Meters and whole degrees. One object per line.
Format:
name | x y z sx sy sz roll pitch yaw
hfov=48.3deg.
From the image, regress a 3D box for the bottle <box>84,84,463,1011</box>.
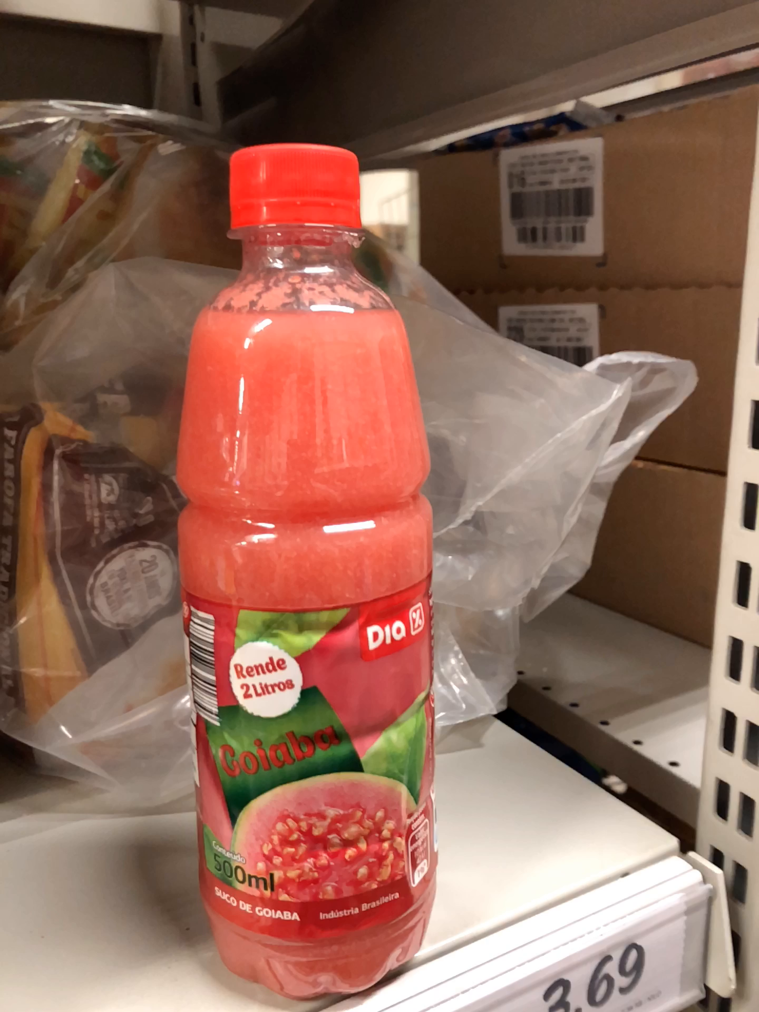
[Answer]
bottle | -0.022 0.015 0.229 0.070 0.219 0.070 1 12 0
